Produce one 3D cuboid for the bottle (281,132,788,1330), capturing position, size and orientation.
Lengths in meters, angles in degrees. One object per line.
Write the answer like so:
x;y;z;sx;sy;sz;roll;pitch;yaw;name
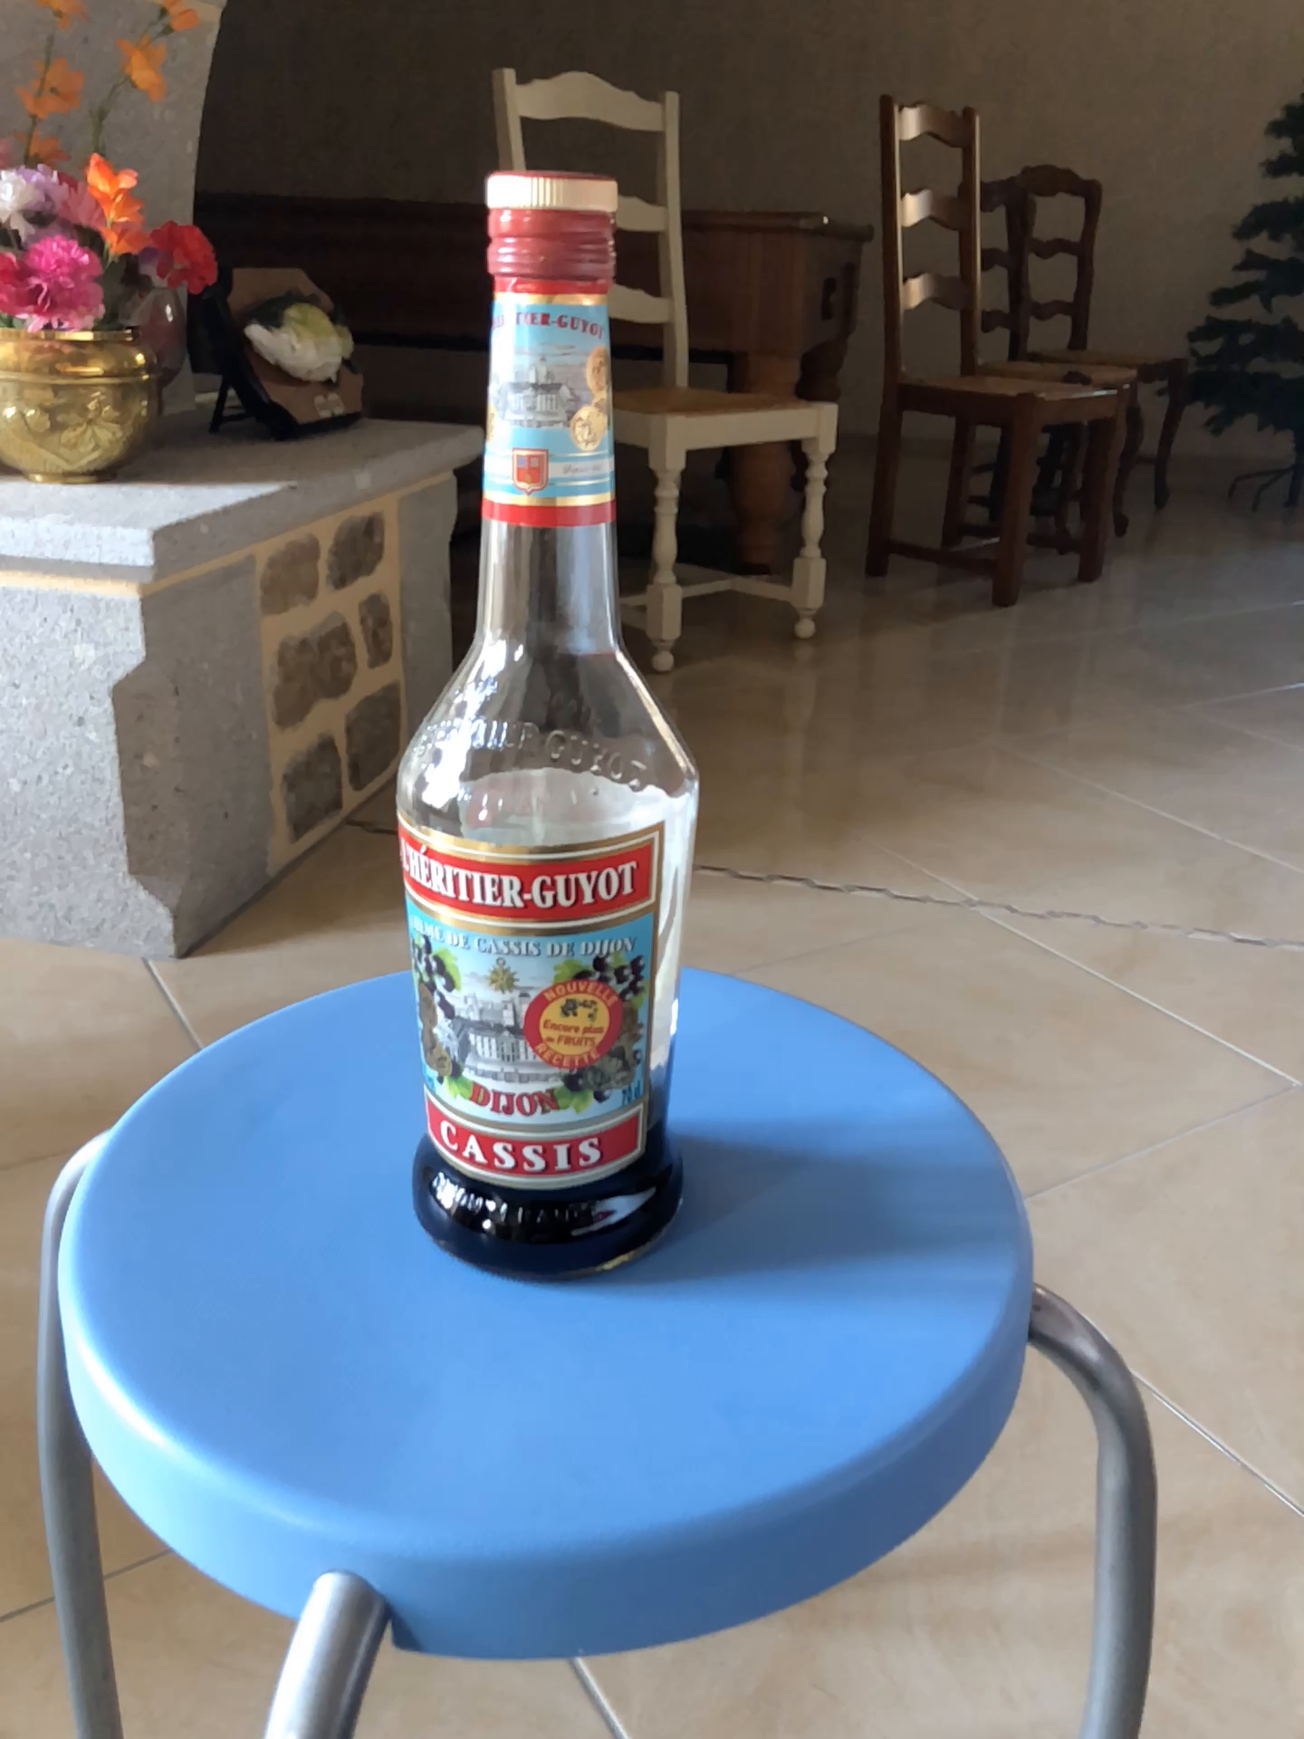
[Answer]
-0.029;-0.033;0.396;0.090;0.298;0.091;2;23;-1;bottle
